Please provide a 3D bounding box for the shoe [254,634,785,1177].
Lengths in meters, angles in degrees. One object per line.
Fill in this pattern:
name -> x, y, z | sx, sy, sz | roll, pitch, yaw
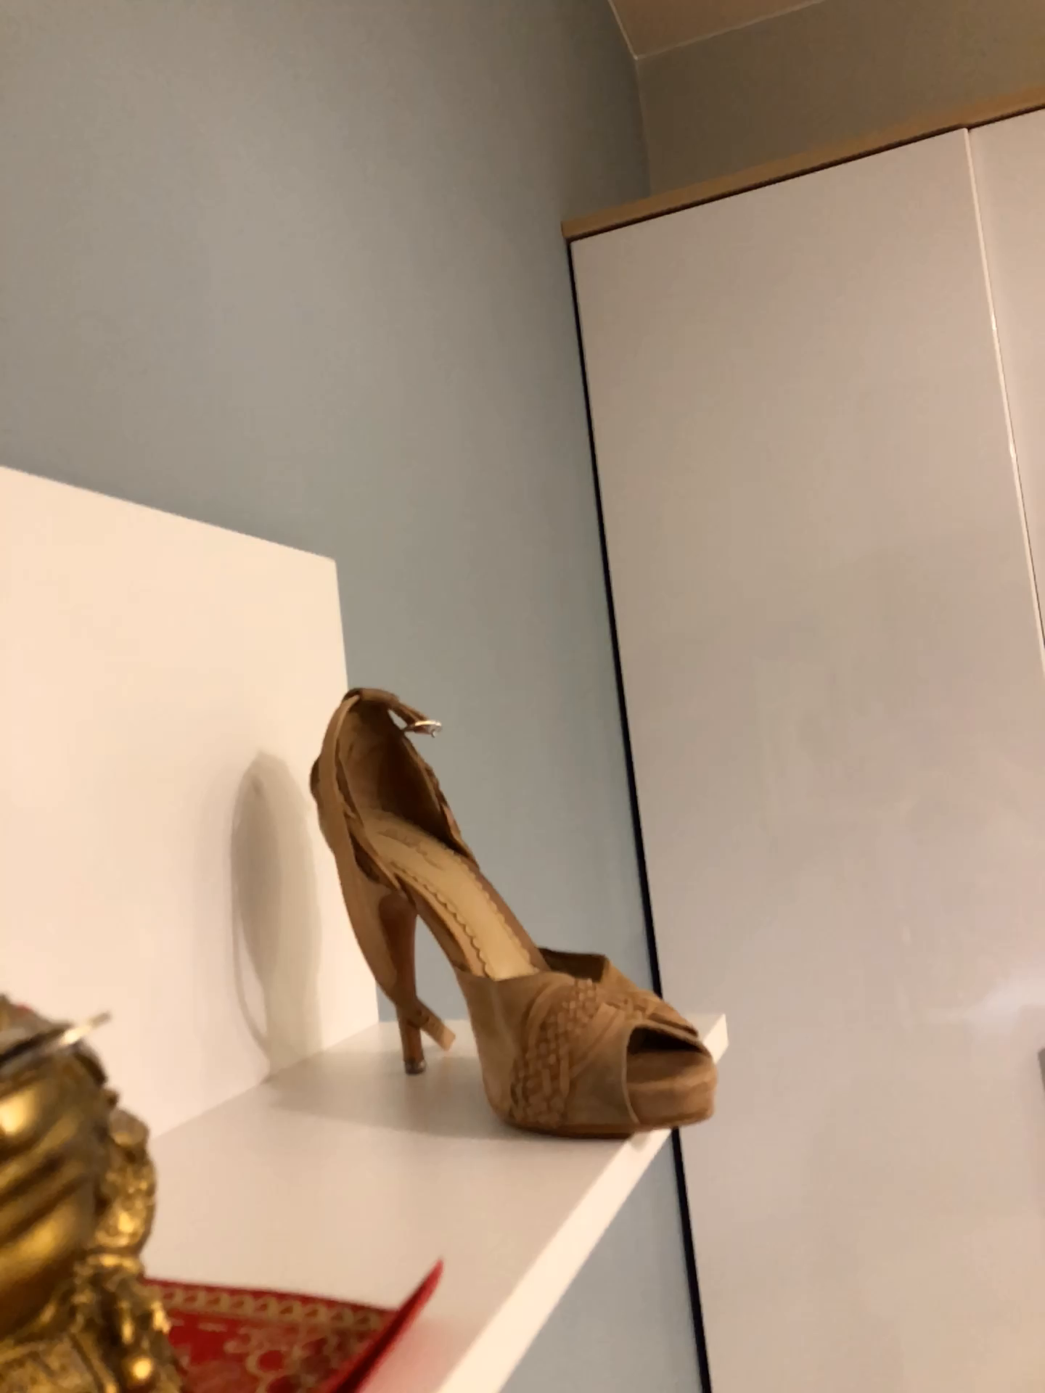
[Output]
shoe -> -0.014, 0.081, 0.491 | 0.100, 0.180, 0.210 | -1, -7, -41
